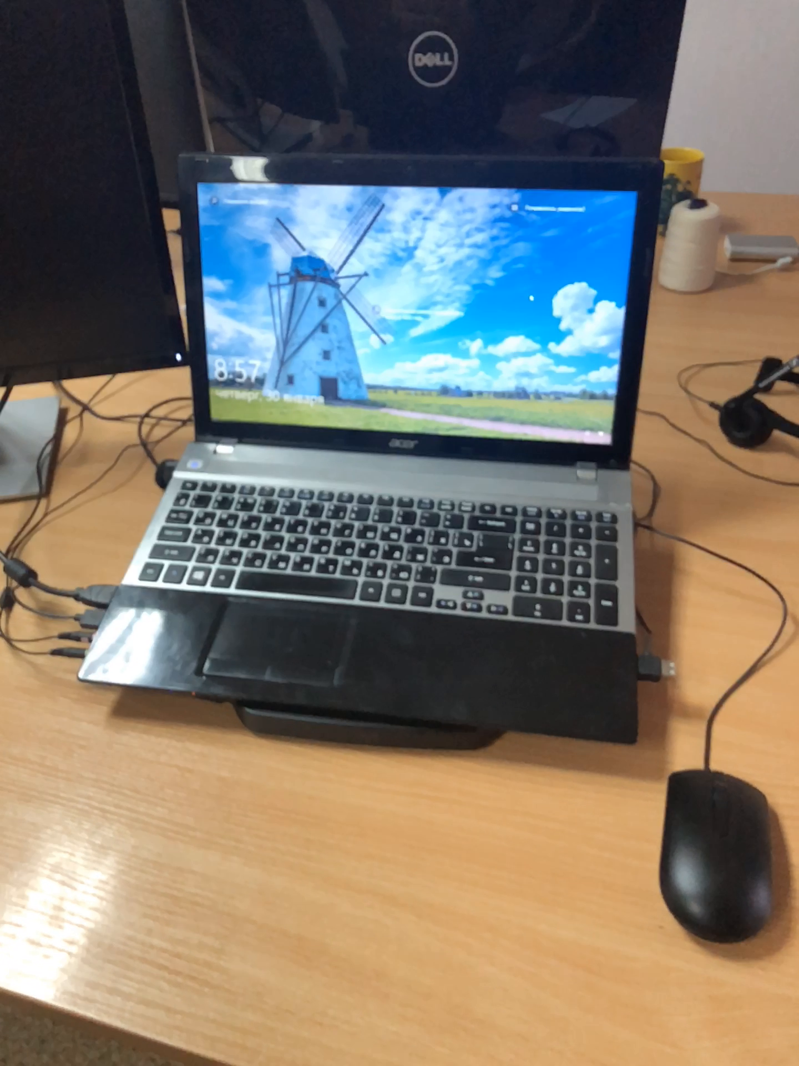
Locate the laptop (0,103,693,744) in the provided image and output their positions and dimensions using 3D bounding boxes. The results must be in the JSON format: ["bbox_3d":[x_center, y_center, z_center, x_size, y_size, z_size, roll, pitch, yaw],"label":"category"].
[{"bbox_3d":[-0.013,-0.106,0.630,0.373,0.211,0.361,5,47,8],"label":"laptop"}]
